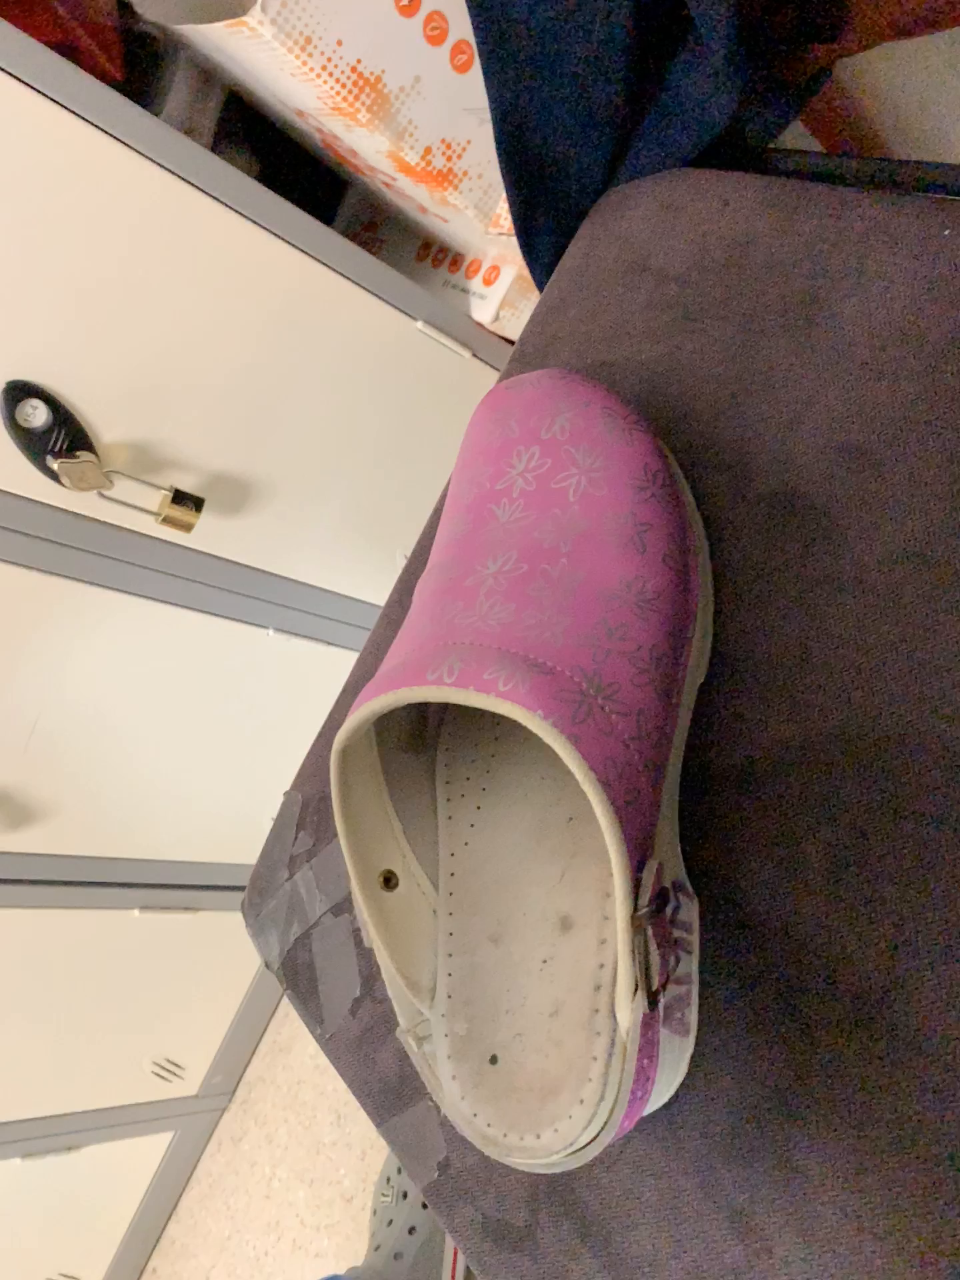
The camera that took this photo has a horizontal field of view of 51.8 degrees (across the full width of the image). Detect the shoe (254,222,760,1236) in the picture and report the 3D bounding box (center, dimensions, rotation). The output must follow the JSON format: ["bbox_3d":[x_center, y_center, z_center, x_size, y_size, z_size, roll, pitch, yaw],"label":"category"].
[{"bbox_3d":[0.007,0.020,0.282,0.101,0.079,0.230,-14,68,41],"label":"shoe"}]
